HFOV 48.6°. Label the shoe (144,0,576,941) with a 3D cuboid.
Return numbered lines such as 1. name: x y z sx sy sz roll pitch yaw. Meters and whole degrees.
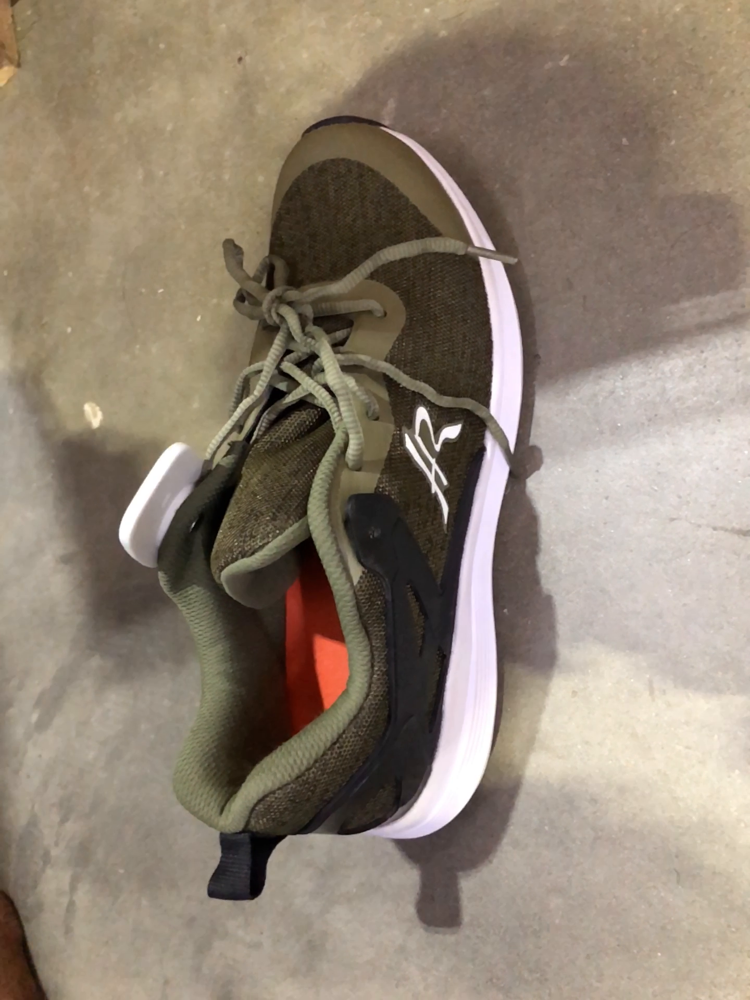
1. shoe: -0.007 -0.011 0.324 0.120 0.100 0.290 -7 82 32
